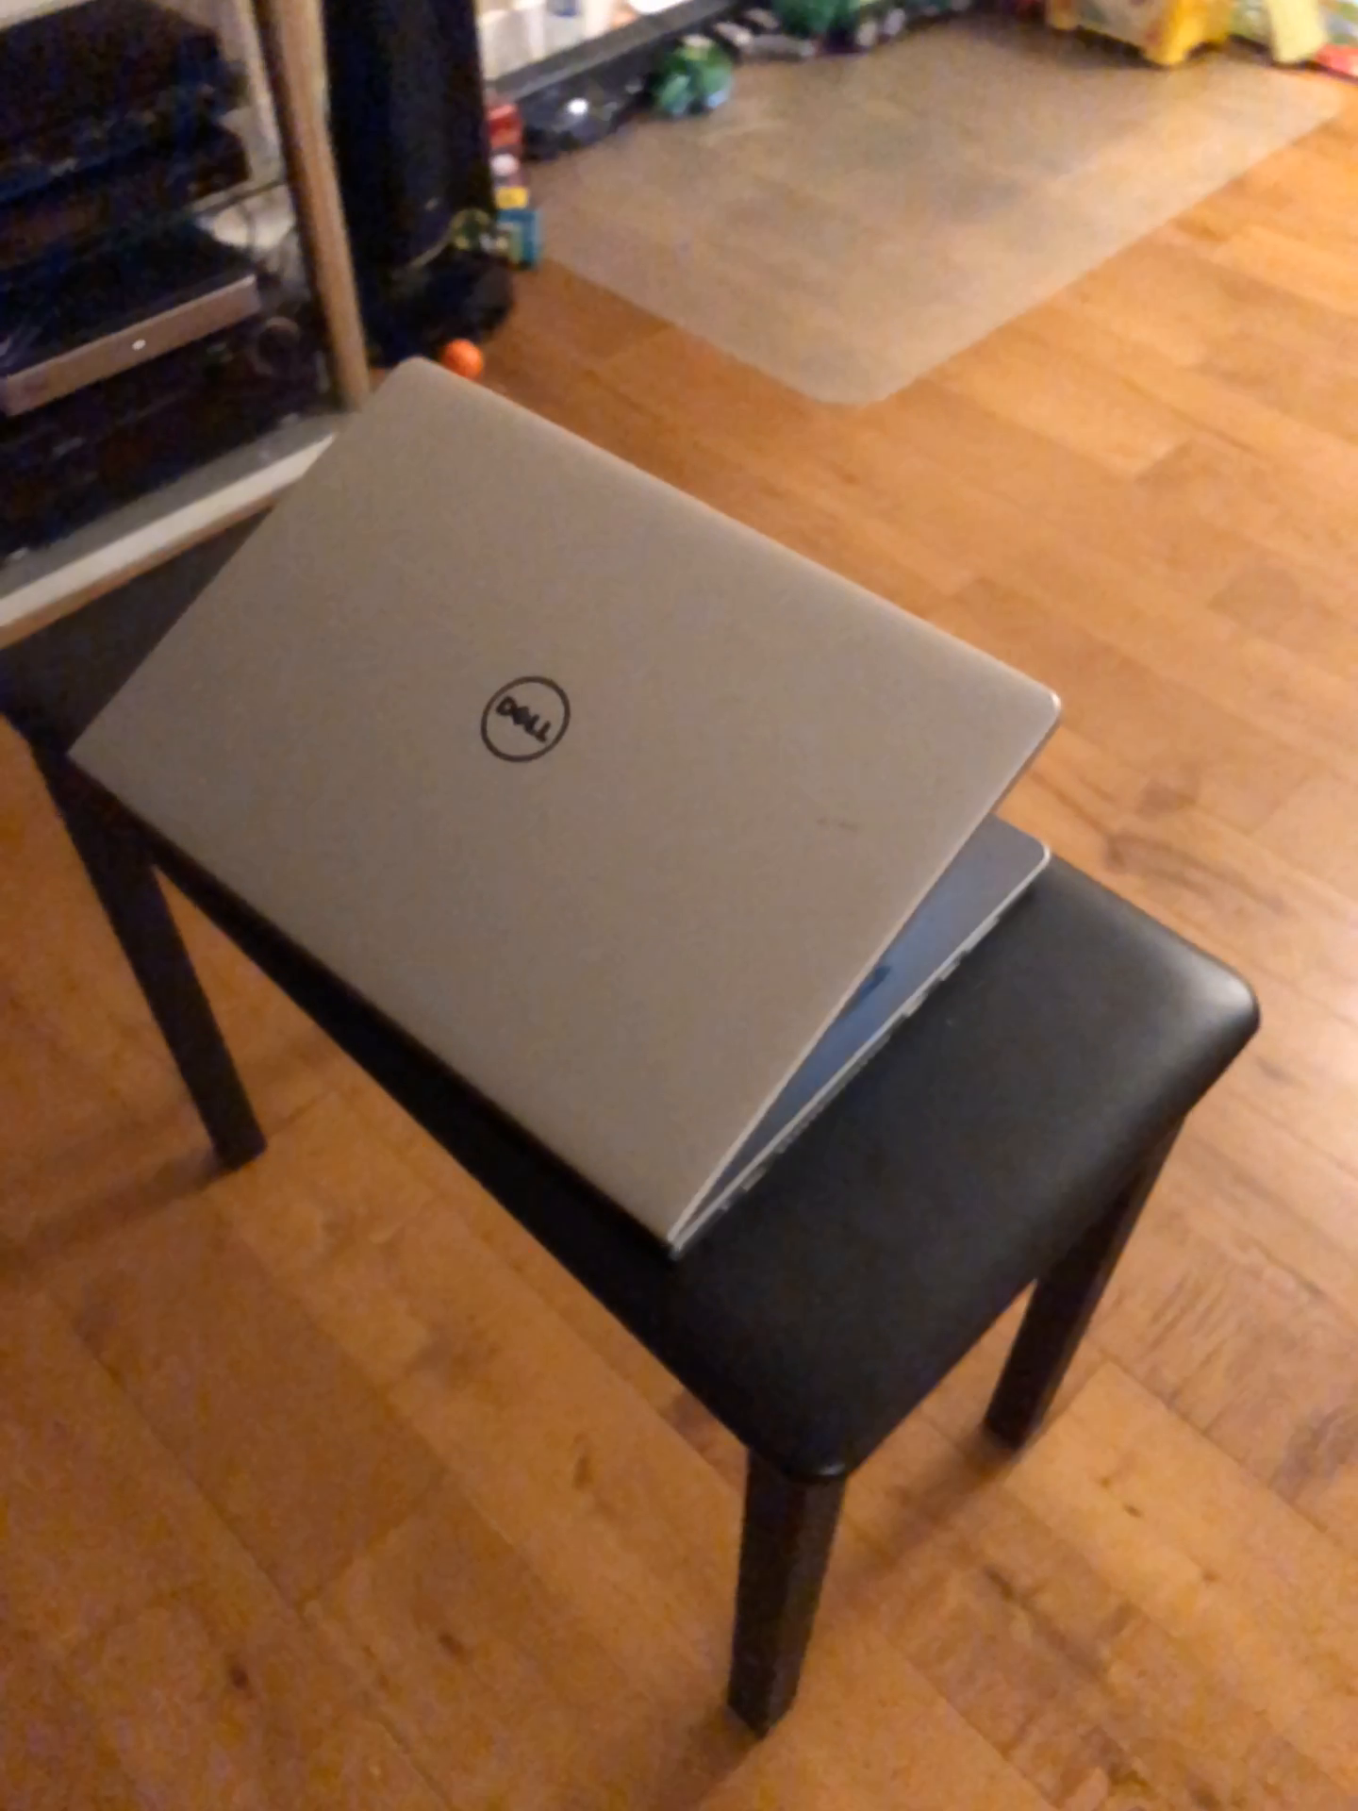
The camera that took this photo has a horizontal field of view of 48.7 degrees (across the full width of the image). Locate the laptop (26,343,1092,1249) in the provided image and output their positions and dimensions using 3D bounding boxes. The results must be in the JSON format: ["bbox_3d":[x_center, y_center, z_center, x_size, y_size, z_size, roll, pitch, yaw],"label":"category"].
[{"bbox_3d":[-0.056,-0.076,0.646,0.366,0.107,0.248,34,60,26],"label":"laptop"}]
